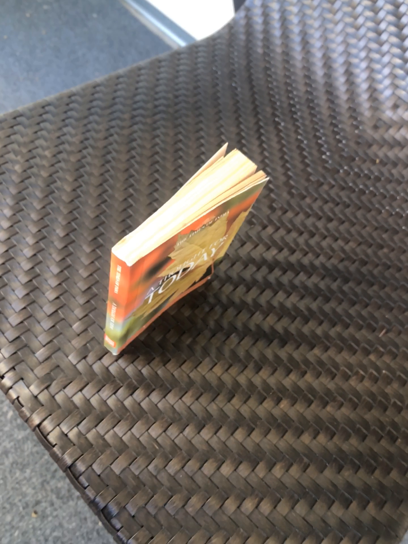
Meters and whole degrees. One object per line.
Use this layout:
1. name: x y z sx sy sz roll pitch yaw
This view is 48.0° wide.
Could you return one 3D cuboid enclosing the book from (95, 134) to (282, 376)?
1. book: -0.014 -0.002 0.279 0.031 0.129 0.106 39 62 10
